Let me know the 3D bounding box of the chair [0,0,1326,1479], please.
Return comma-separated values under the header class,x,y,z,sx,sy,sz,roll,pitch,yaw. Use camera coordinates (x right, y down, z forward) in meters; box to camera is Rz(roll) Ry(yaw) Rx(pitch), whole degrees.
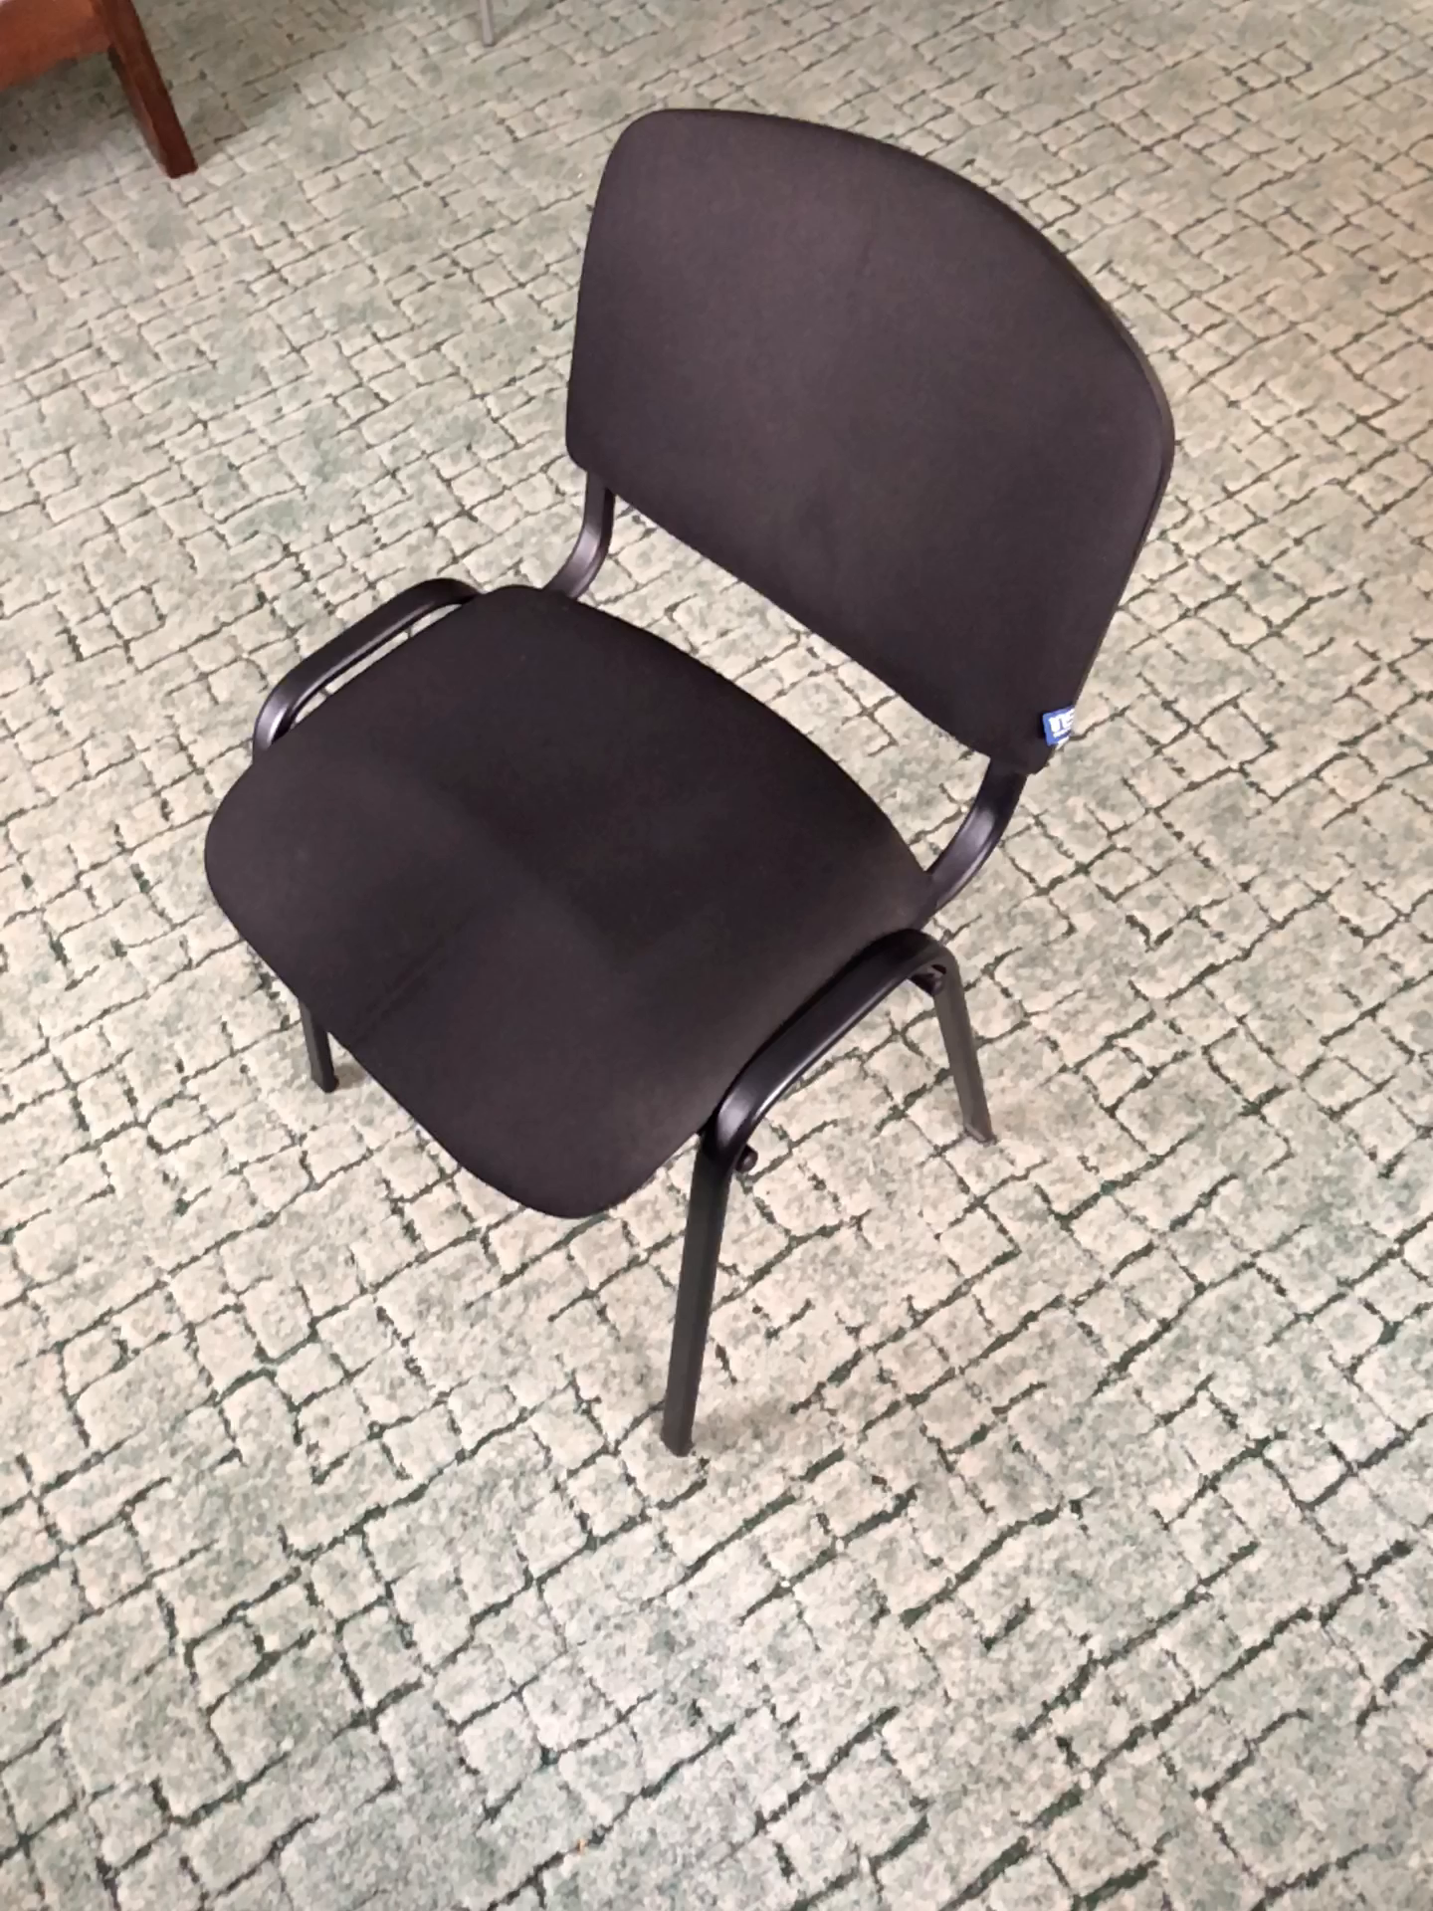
class,x,y,z,sx,sy,sz,roll,pitch,yaw
chair,-0.061,-0.126,1.200,0.602,0.785,0.582,-40,63,-19
